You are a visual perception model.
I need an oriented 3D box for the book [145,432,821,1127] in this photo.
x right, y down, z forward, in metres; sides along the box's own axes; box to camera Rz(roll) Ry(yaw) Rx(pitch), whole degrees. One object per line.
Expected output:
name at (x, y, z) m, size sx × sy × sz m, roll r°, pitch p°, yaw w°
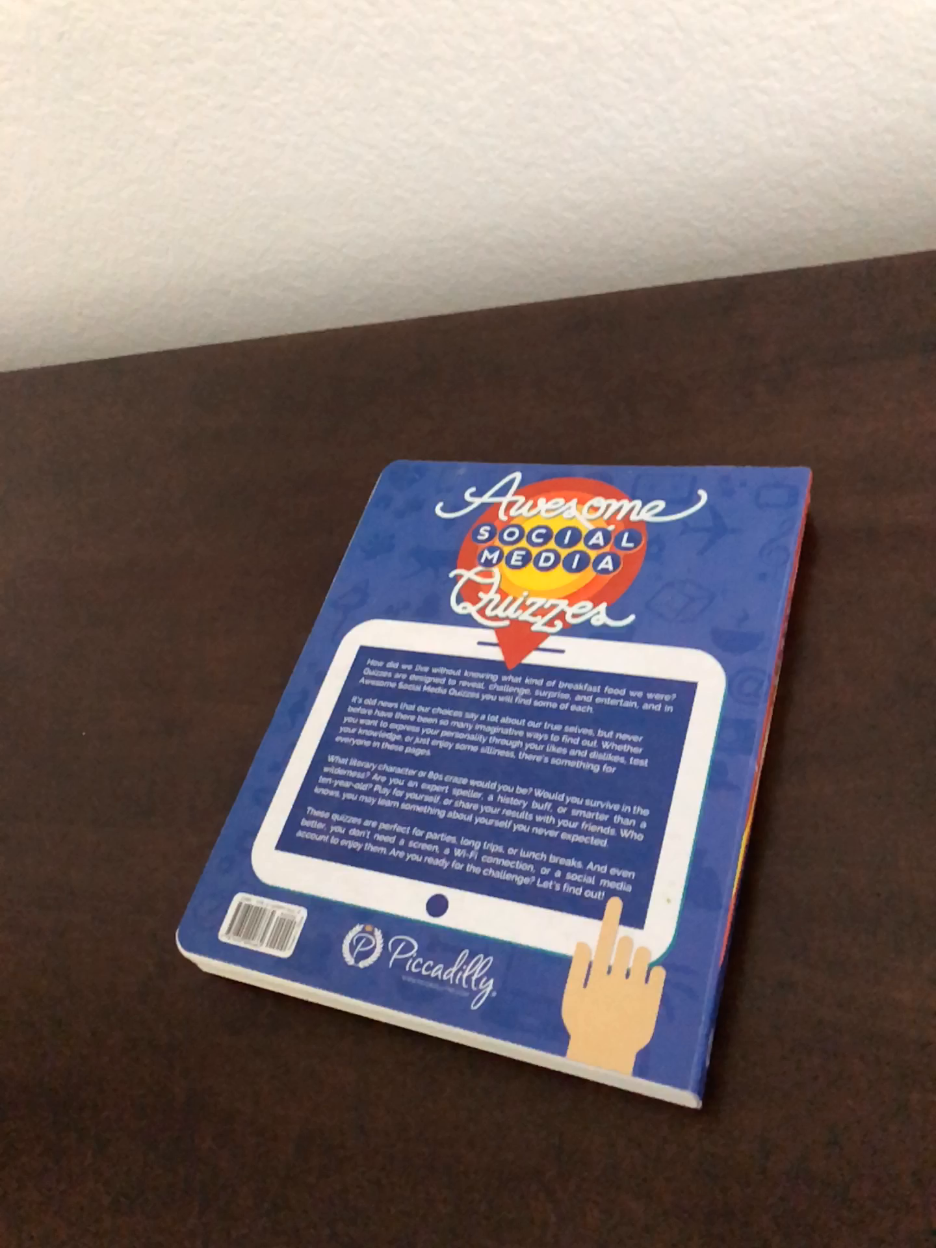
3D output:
book at (0.014, 0.027, 0.347) m, size 0.173 × 0.030 × 0.215 m, roll 5°, pitch 59°, yaw 24°
